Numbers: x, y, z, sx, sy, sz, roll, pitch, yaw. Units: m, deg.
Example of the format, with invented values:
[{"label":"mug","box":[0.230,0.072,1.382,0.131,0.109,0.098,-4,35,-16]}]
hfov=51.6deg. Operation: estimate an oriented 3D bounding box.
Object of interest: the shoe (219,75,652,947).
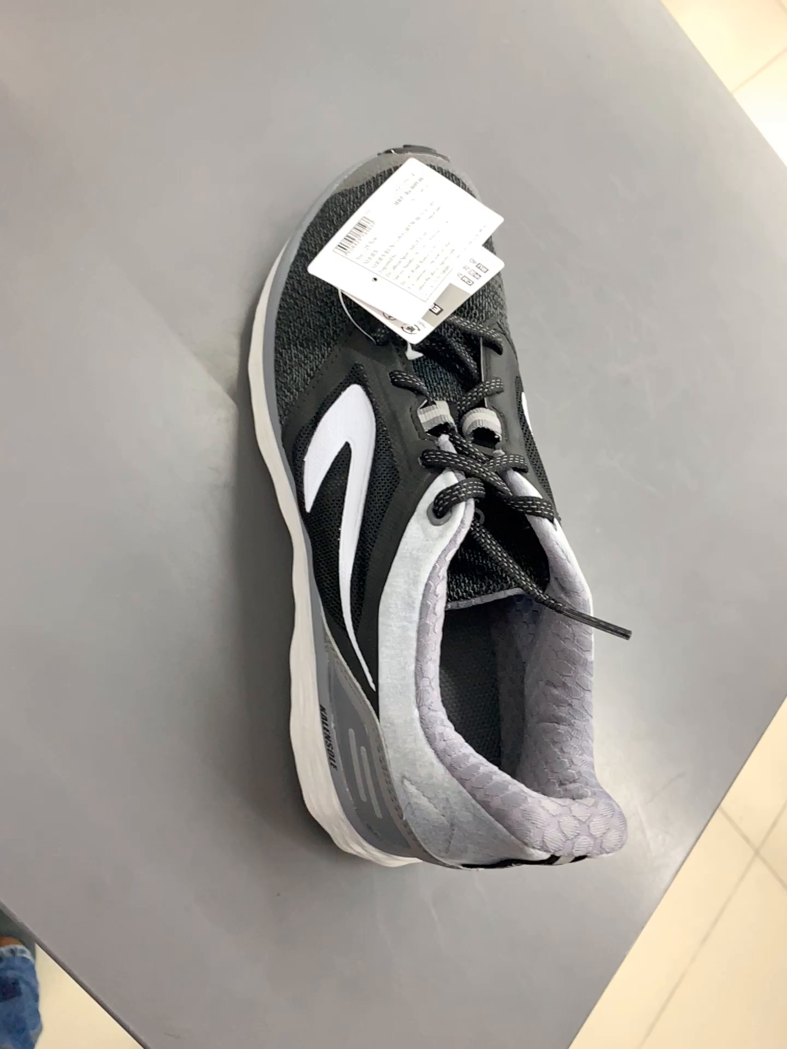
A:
[{"label":"shoe","box":[0.003,-0.006,0.279,0.100,0.090,0.240,0,78,-23]}]
